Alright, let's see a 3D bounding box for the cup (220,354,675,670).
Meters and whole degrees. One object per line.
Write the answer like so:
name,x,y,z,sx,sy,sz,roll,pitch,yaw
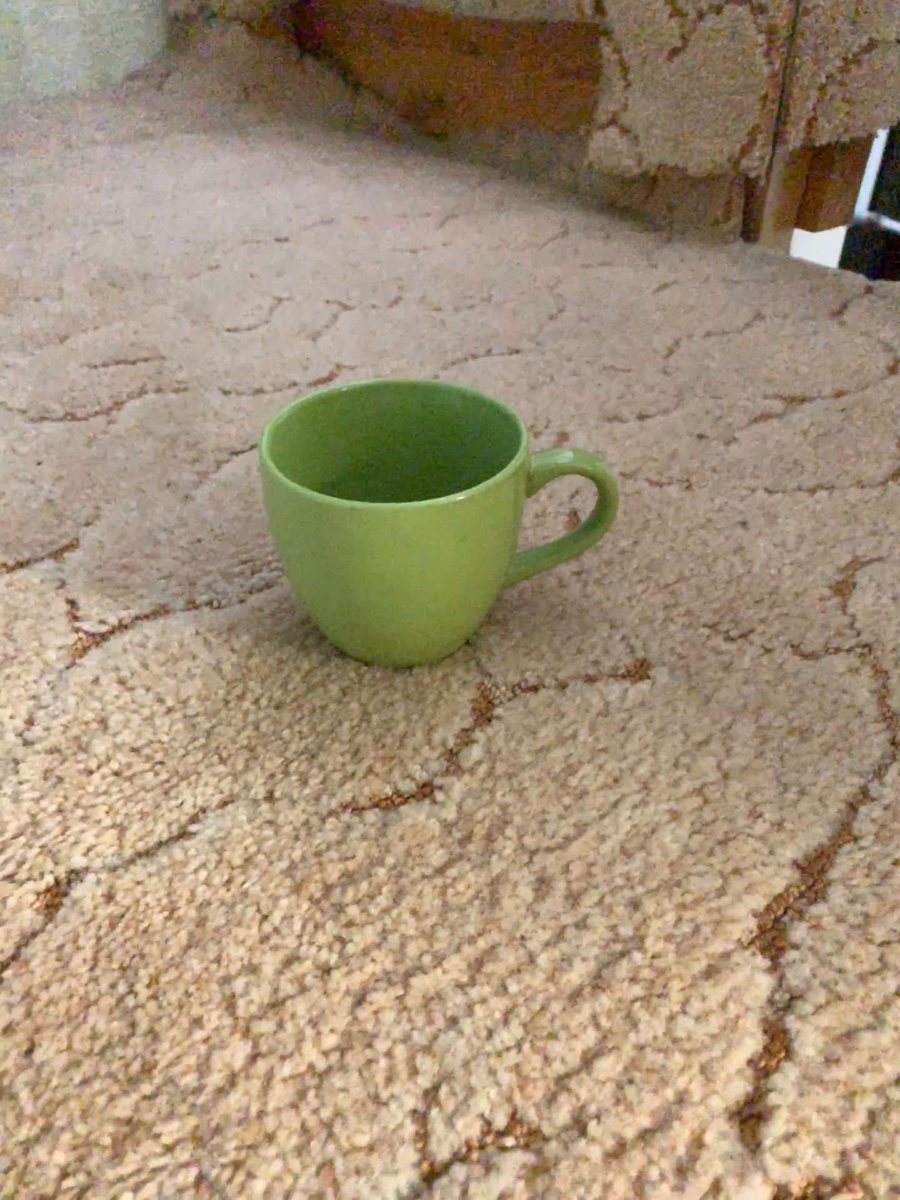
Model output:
cup,-0.004,-0.033,0.299,0.120,0.060,0.091,-3,33,-4
